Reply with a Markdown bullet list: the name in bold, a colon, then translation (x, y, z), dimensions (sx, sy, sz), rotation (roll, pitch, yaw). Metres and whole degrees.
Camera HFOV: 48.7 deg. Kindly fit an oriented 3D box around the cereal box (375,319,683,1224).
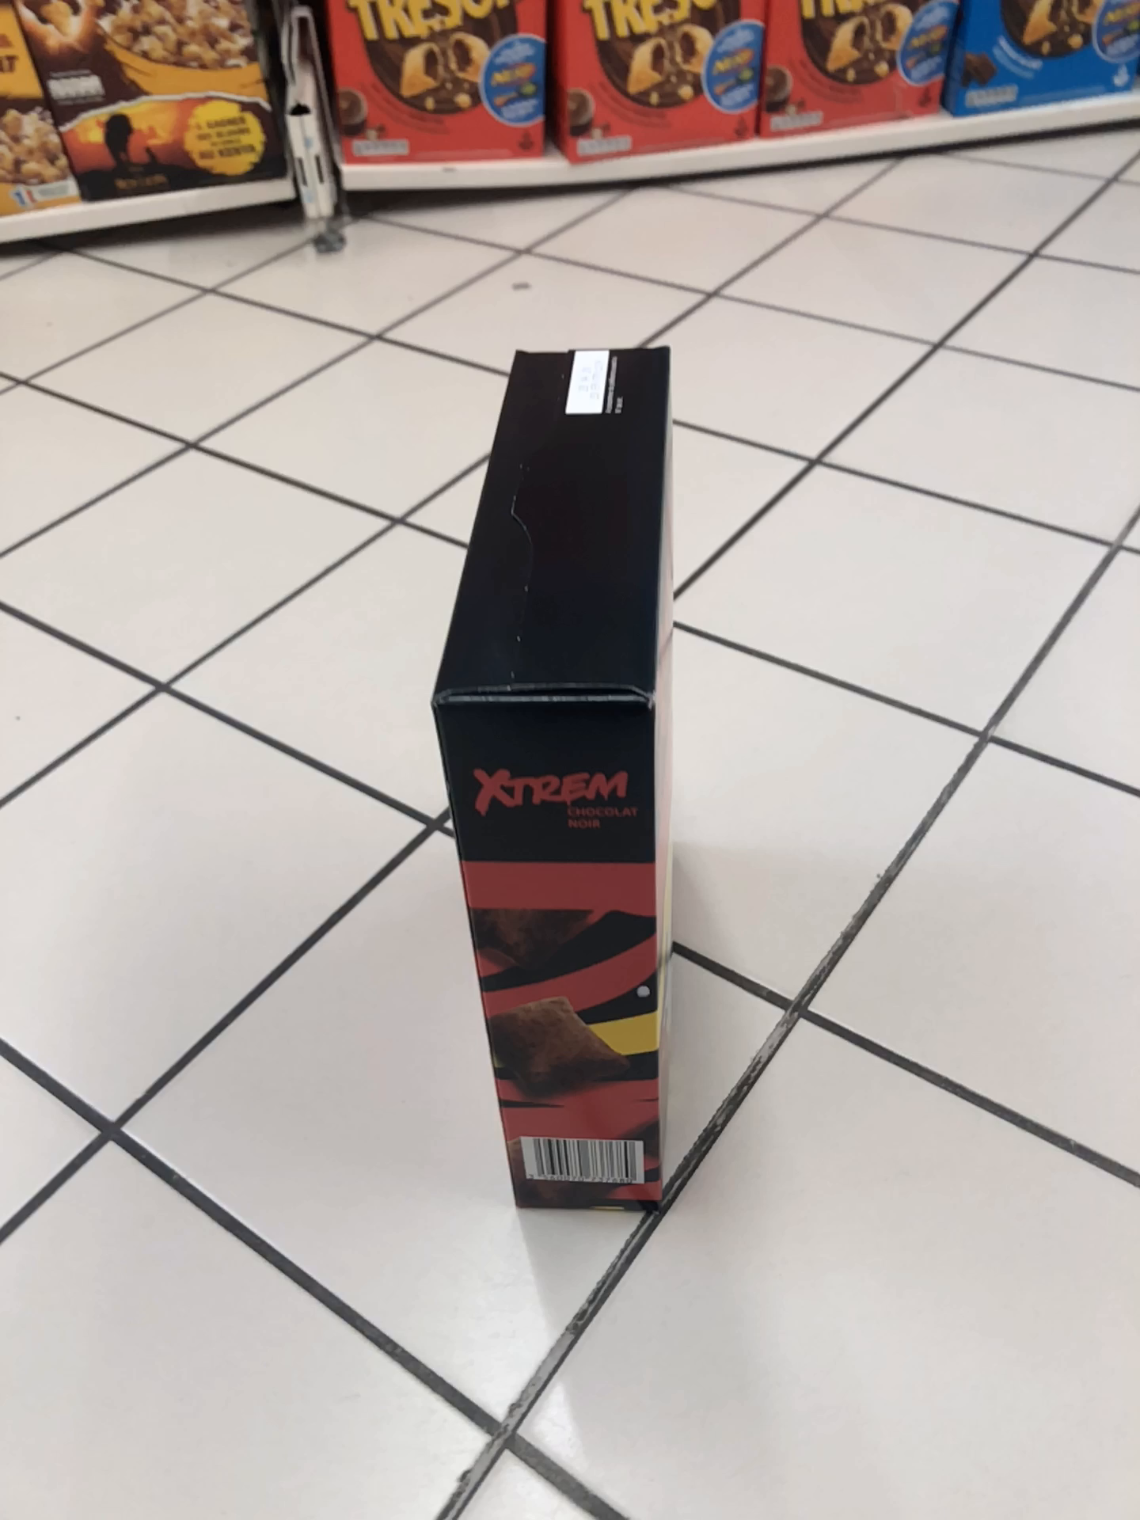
- **cereal box**: translation (0.004, 0.007, 0.447), dimensions (0.070, 0.249, 0.201), rotation (0, 42, 5)
